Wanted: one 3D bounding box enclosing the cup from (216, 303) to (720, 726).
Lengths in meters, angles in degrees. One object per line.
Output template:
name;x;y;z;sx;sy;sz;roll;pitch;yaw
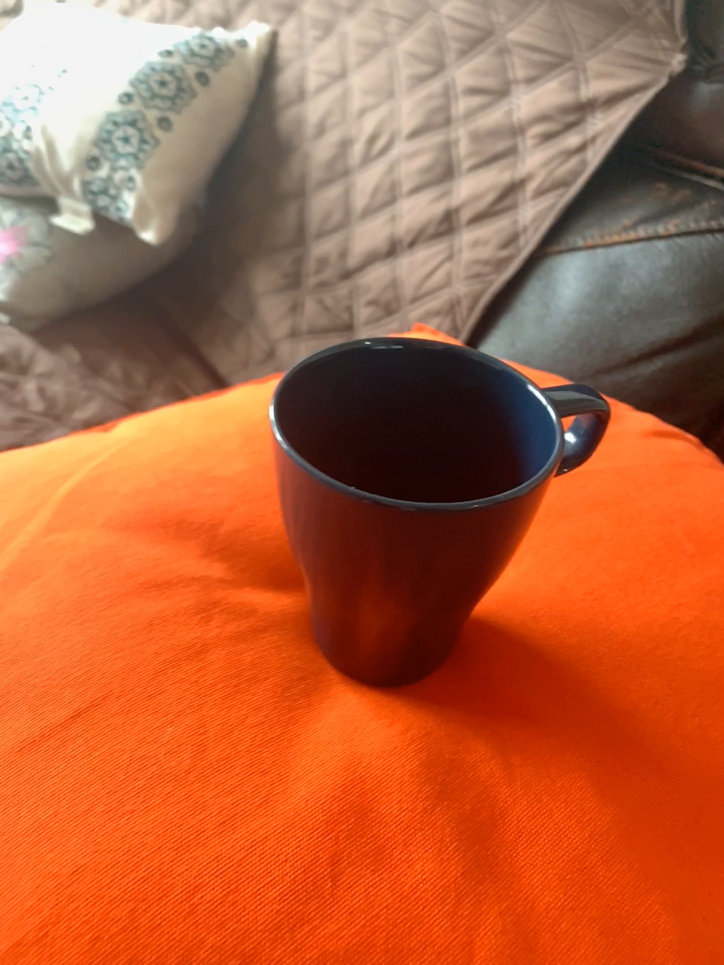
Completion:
cup;0.024;0.004;0.239;0.120;0.079;0.081;-11;44;-19
